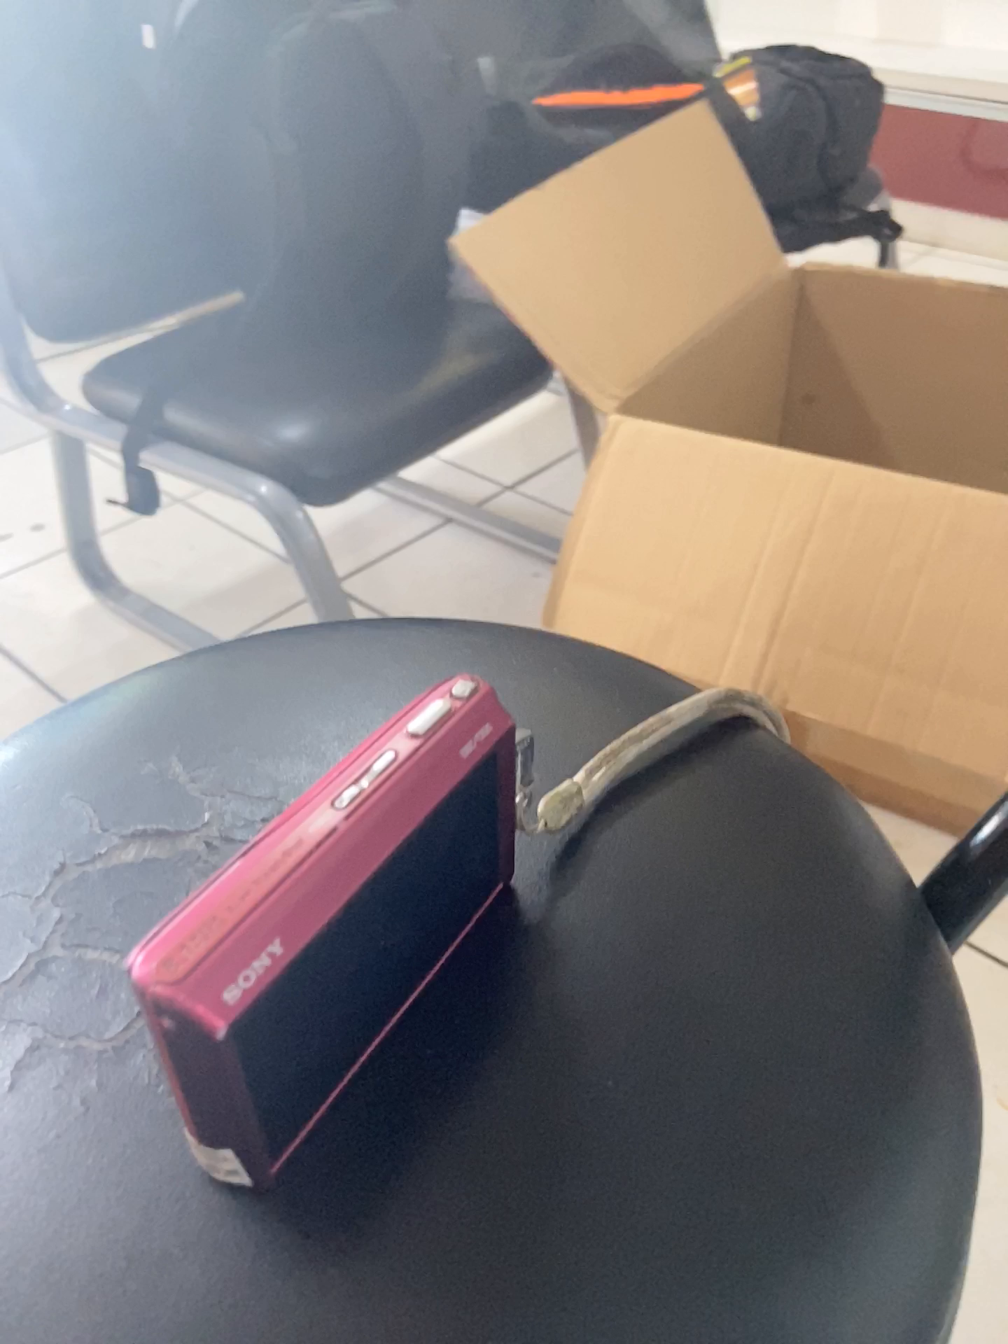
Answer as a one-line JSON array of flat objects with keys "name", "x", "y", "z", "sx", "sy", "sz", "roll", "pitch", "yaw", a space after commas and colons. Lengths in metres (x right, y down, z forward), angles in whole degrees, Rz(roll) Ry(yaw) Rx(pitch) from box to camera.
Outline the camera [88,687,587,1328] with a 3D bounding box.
[{"name": "camera", "x": -0.022, "y": 0.058, "z": 0.201, "sx": 0.030, "sy": 0.060, "sz": 0.101, "roll": 20, "pitch": 43, "yaw": 26}]
